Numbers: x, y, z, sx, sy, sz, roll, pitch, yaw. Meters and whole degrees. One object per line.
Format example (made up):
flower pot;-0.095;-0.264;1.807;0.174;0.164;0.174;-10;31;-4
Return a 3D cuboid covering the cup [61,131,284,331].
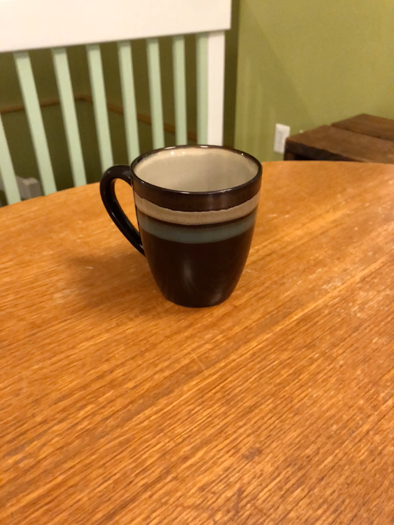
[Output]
cup;-0.015;-0.033;0.337;0.125;0.093;0.099;18;37;26
